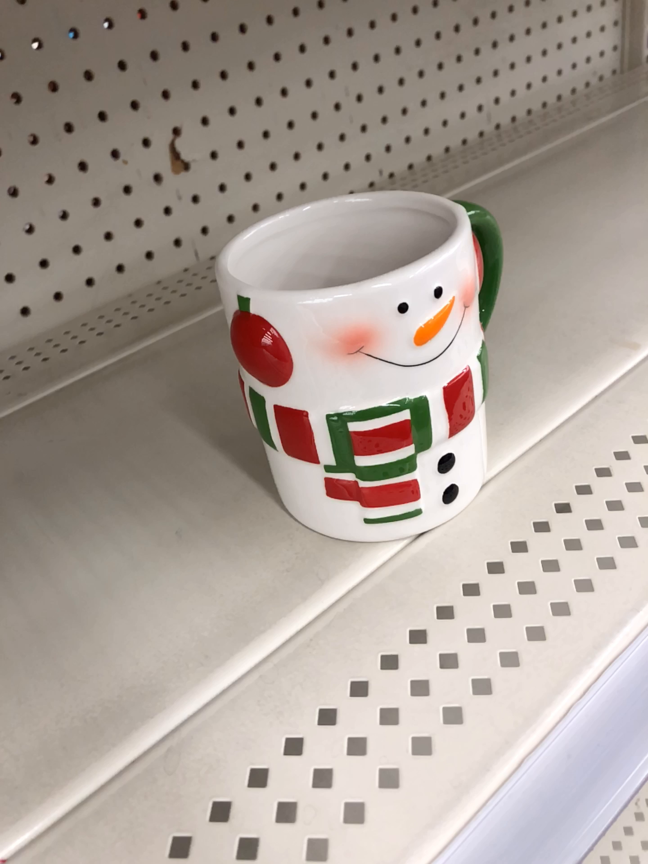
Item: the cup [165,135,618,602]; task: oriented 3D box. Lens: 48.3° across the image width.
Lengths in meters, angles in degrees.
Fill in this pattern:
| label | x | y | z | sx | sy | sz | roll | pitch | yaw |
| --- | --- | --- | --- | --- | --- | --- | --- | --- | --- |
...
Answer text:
| label | x | y | z | sx | sy | sz | roll | pitch | yaw |
| --- | --- | --- | --- | --- | --- | --- | --- | --- | --- |
| cup | 0.033 | -0.034 | 0.275 | 0.130 | 0.110 | 0.090 | -36 | 42 | -30 |
